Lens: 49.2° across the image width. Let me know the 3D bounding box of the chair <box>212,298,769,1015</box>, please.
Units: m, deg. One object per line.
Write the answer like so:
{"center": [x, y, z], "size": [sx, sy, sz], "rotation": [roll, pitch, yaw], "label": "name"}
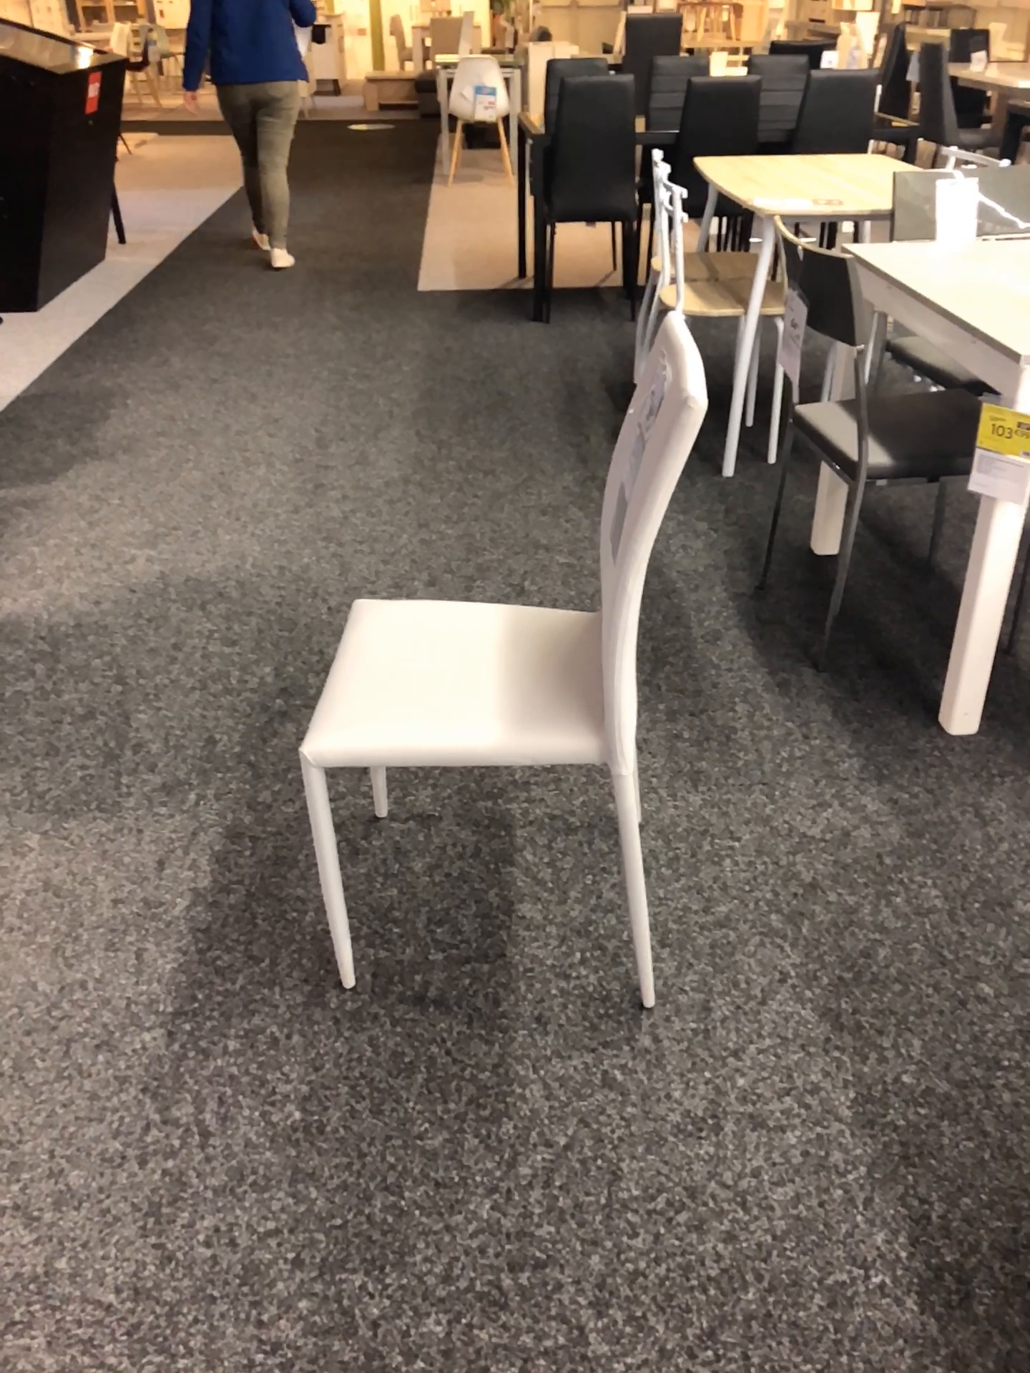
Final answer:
{"center": [-0.013, -0.044, 1.514], "size": [0.540, 0.815, 0.503], "rotation": [0, 31, 2], "label": "chair"}
